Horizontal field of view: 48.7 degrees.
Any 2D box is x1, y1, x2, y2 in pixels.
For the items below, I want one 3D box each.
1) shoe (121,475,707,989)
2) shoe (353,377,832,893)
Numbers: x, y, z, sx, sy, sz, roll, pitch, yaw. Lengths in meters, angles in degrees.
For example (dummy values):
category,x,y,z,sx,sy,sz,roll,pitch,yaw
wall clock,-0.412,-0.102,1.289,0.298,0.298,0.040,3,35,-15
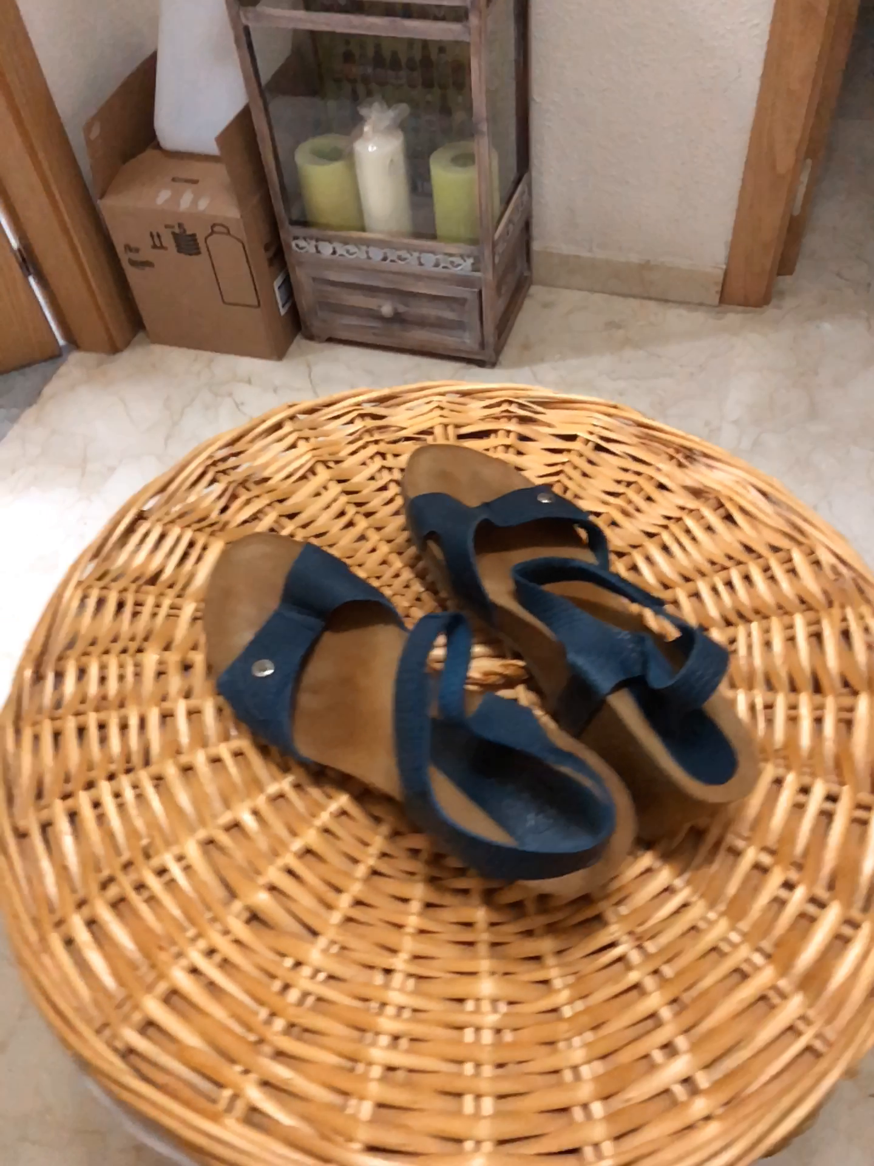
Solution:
category,x,y,z,sx,sy,sz,roll,pitch,yaw
shoe,-0.021,0.057,0.464,0.281,0.060,0.090,33,68,27
shoe,0.065,0.011,0.506,0.090,0.060,0.281,-30,55,-10
